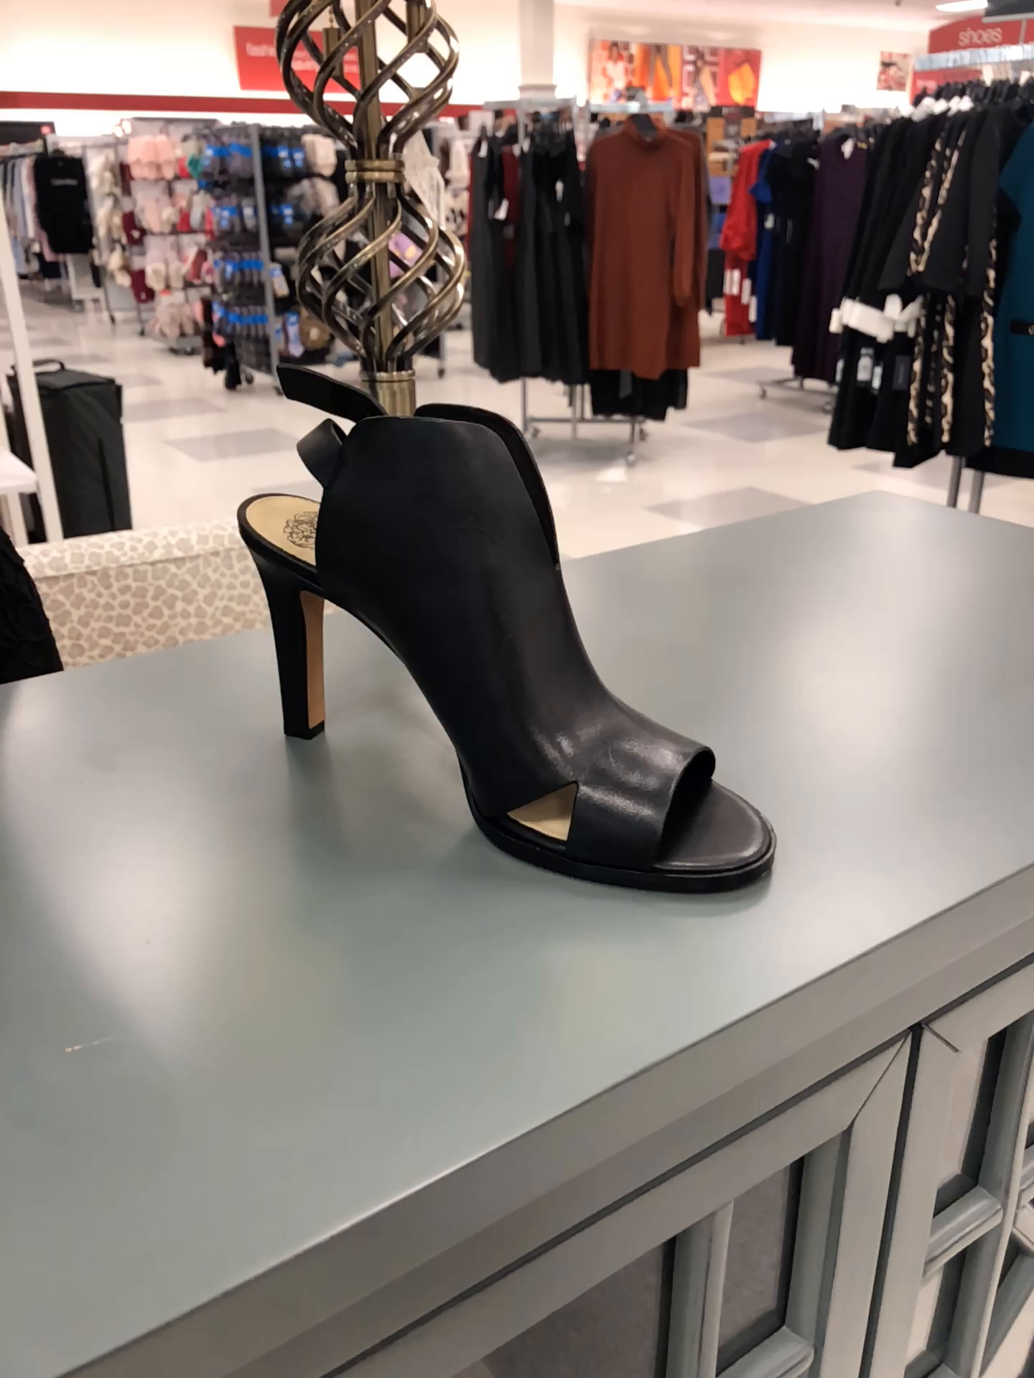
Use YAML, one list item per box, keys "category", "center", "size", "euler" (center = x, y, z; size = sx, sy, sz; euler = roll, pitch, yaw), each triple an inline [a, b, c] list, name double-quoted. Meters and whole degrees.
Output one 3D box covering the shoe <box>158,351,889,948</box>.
- category: "shoe"
  center: [-0.006, -0.032, 0.416]
  size: [0.236, 0.150, 0.095]
  euler: [15, 28, 32]
